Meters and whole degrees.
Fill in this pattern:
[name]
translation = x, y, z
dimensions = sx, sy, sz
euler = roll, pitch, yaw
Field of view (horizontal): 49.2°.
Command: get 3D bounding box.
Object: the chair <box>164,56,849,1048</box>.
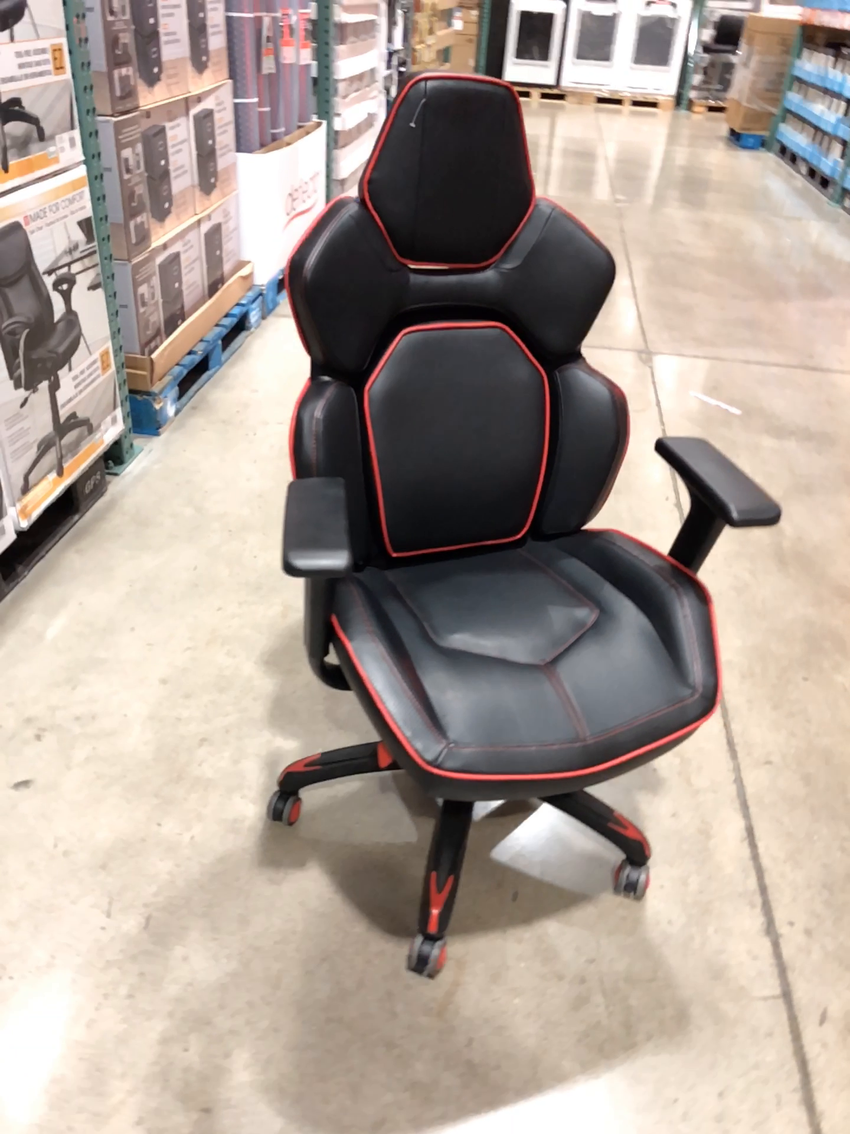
[chair]
translation = 0.095, -0.069, 1.390
dimensions = 0.721, 1.145, 0.723
euler = -11, 34, -23
